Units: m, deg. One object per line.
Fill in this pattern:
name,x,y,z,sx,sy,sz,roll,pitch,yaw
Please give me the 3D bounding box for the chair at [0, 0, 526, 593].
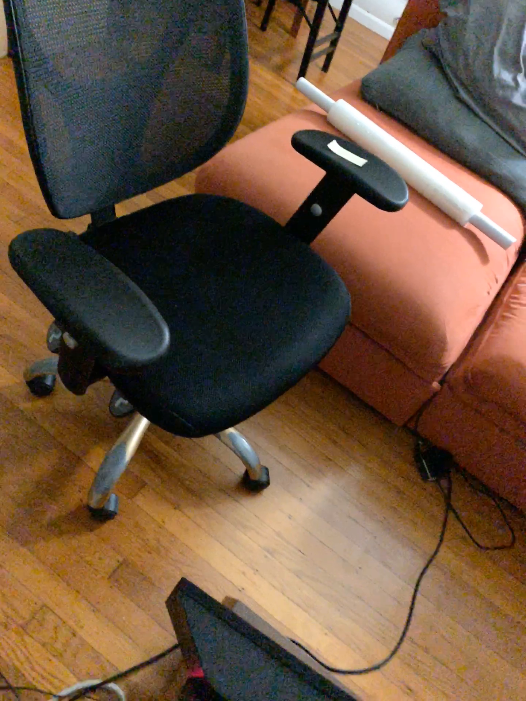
chair,-0.115,-0.198,0.978,0.661,0.975,0.642,41,50,19
